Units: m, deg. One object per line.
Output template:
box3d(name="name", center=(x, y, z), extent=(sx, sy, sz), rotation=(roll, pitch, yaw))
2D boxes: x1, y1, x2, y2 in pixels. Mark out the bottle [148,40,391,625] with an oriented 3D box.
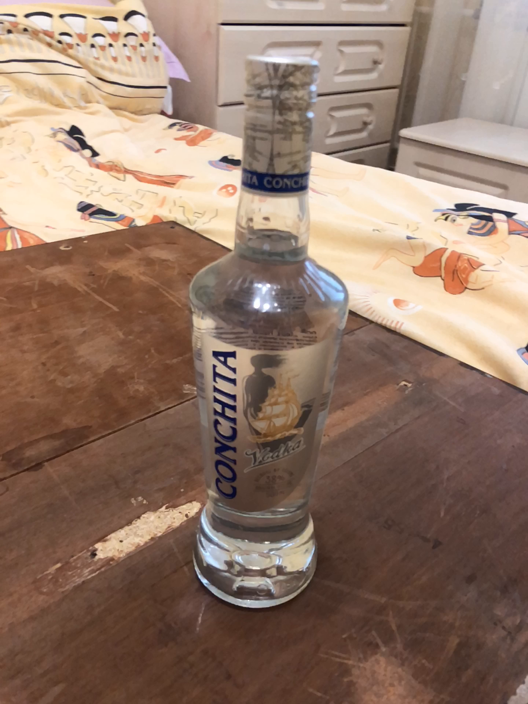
box3d(name="bottle", center=(0.001, 0.008, 0.283), extent=(0.077, 0.273, 0.076), rotation=(2, 31, -2))
